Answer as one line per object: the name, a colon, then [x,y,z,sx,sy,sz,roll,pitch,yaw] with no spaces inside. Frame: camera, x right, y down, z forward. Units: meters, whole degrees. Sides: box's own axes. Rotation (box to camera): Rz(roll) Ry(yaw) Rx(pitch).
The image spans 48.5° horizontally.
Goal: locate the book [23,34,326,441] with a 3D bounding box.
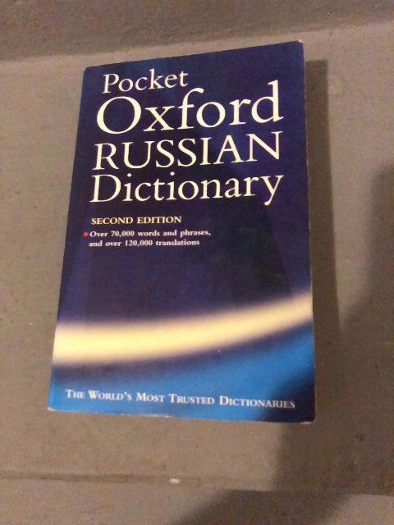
book: [-0.007,-0.018,0.230,0.137,0.032,0.195,-1,76,13]
